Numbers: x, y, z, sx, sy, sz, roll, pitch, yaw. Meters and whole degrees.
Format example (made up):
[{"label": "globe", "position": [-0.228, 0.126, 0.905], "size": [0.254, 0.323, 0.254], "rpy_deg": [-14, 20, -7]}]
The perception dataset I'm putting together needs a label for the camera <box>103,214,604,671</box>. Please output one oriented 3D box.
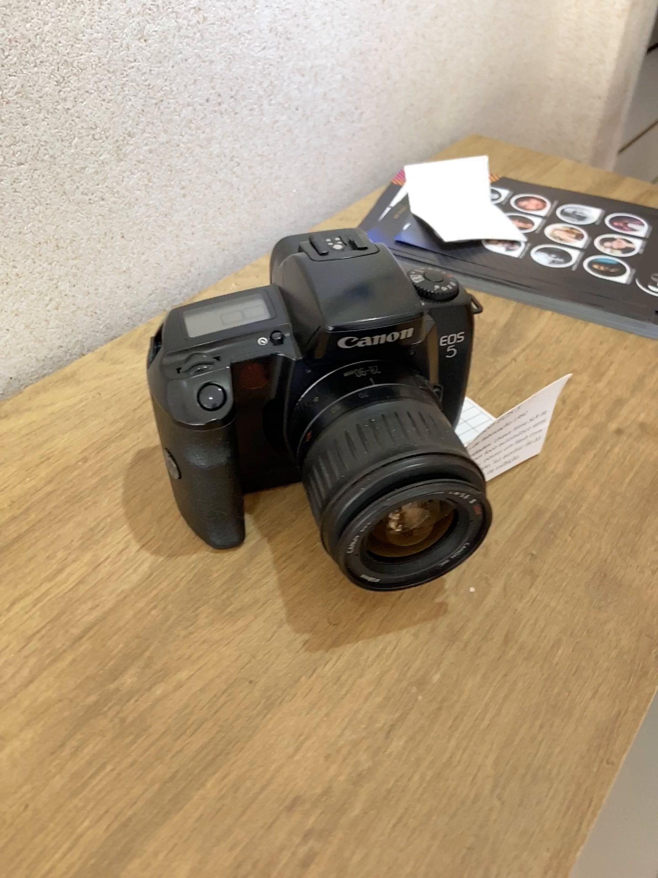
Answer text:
[{"label": "camera", "position": [-0.005, -0.016, 0.320], "size": [0.160, 0.080, 0.181], "rpy_deg": [-14, 46, -14]}]
